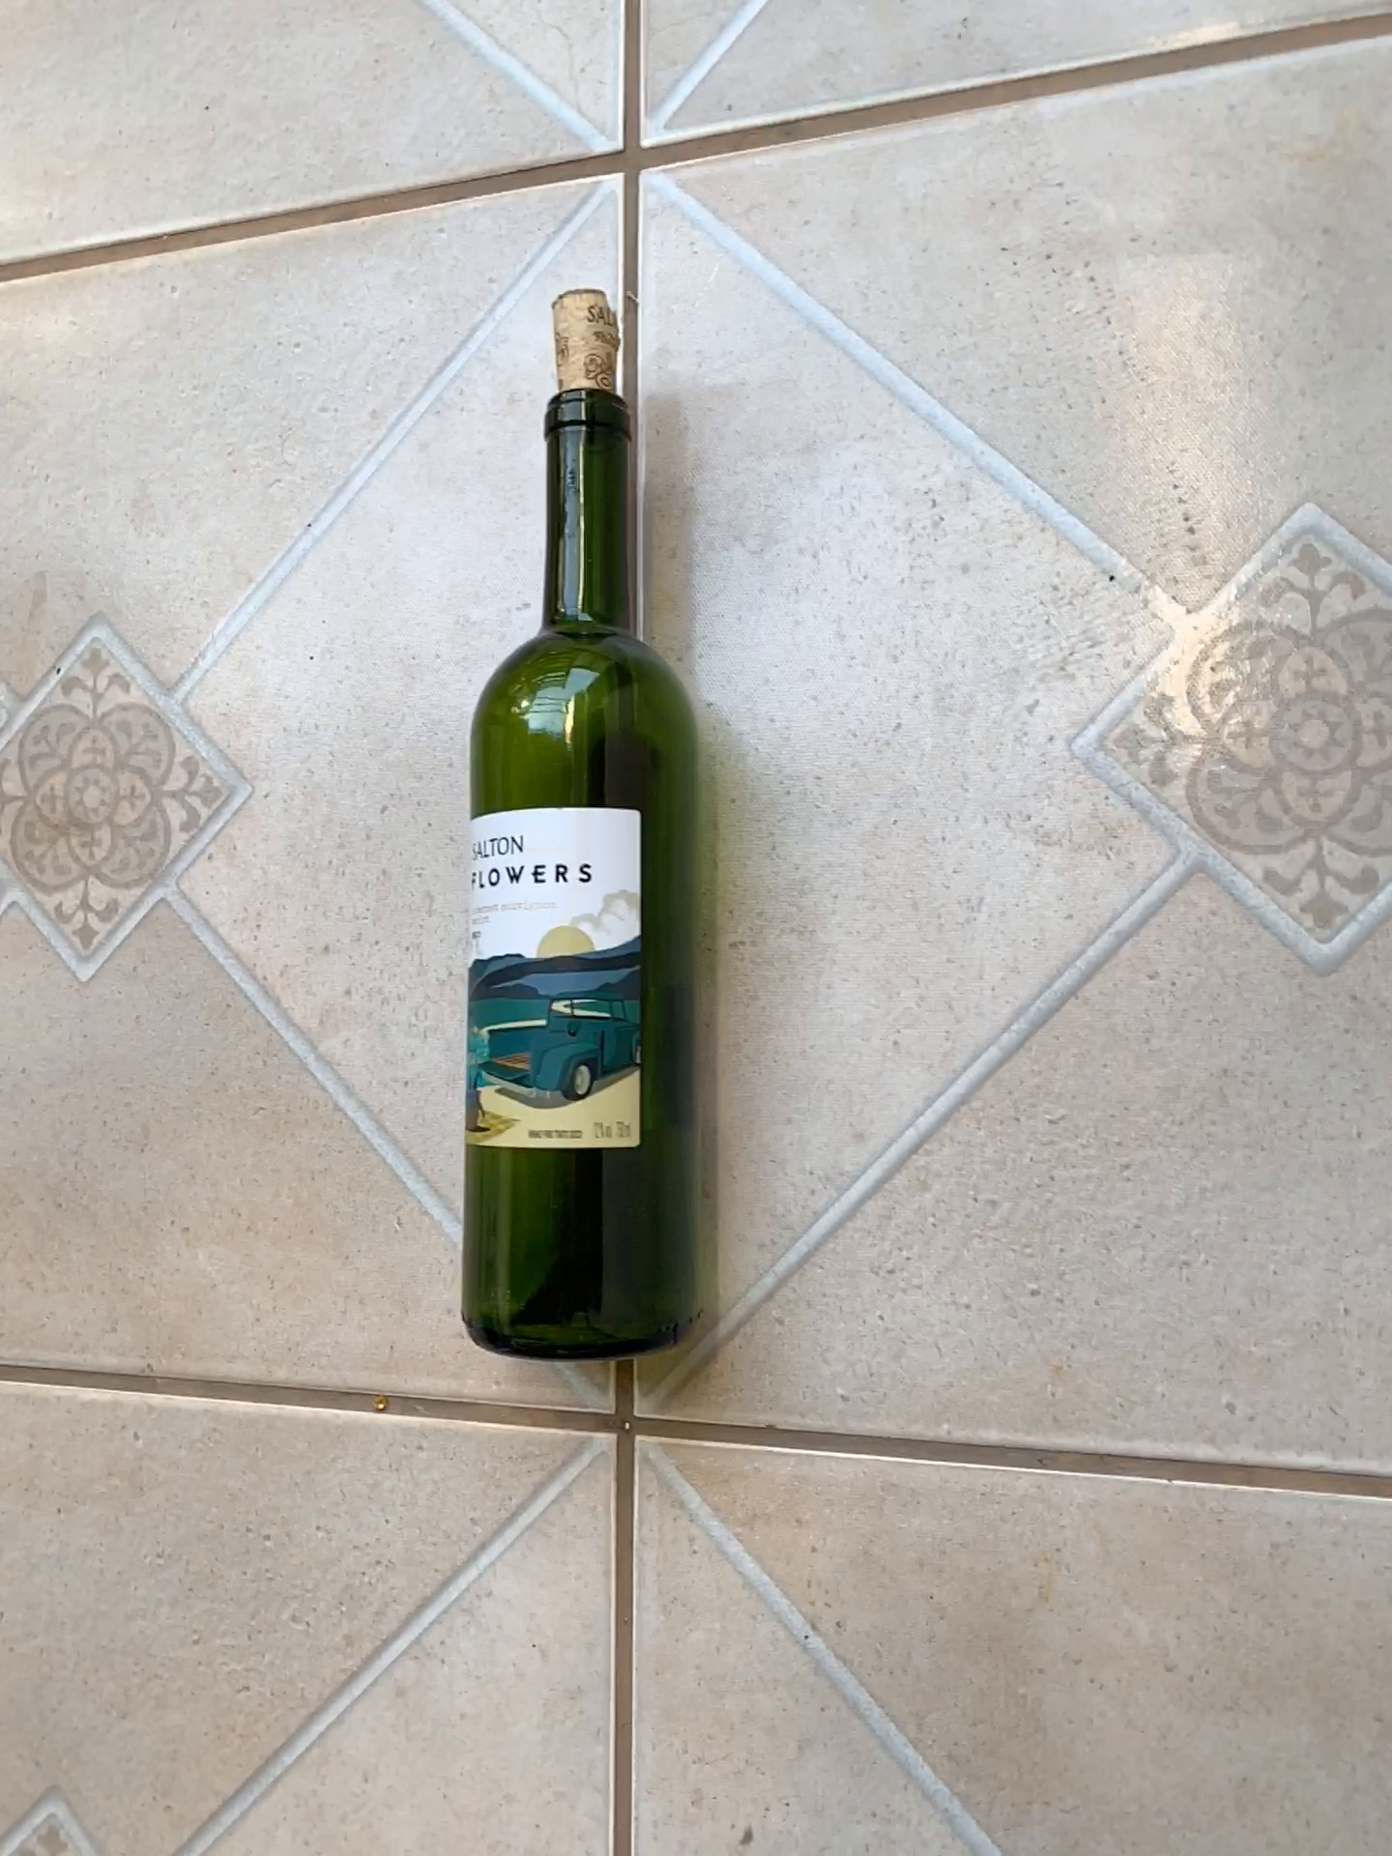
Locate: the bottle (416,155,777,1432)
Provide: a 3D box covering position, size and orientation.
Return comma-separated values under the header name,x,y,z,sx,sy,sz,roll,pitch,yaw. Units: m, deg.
name,x,y,z,sx,sy,sz,roll,pitch,yaw
bottle,-0.029,-0.038,0.441,0.080,0.080,0.350,-2,86,25
